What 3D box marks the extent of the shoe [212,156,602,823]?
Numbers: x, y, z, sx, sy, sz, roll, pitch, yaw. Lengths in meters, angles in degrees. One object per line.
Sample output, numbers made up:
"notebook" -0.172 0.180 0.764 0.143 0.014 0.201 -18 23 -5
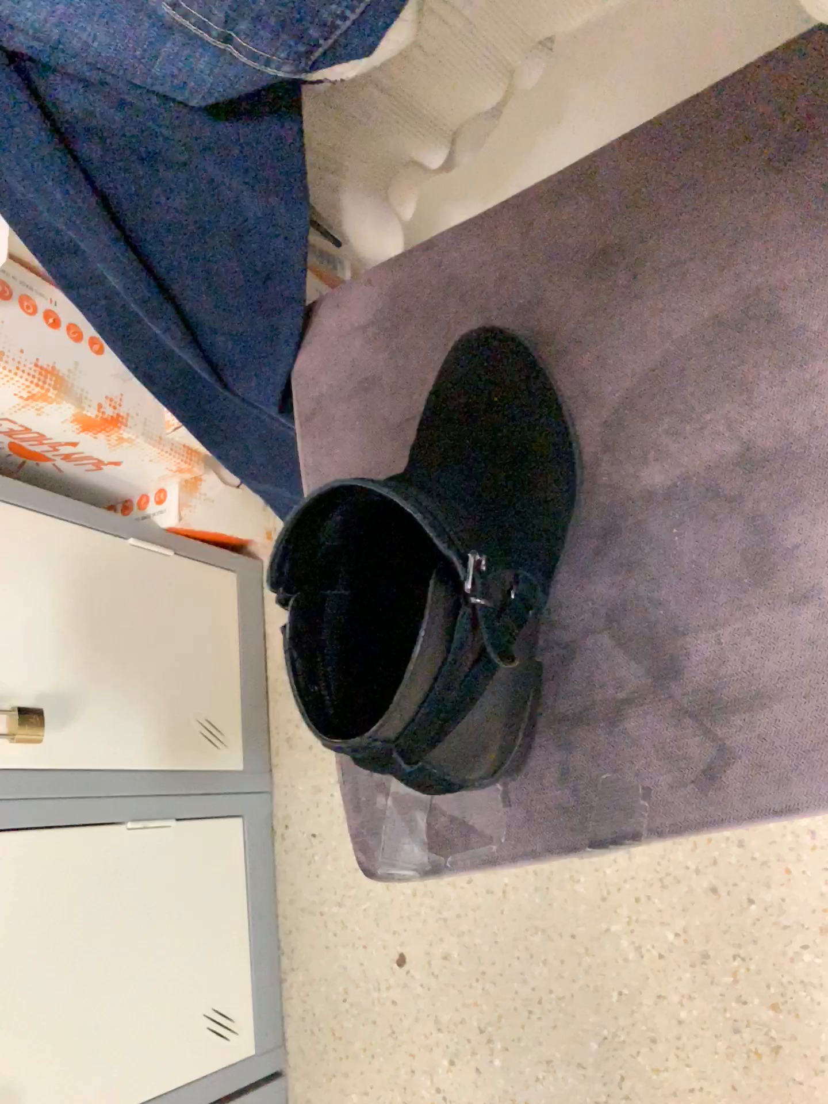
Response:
"shoe" 0.010 -0.019 0.407 0.105 0.135 0.265 -1 76 30
